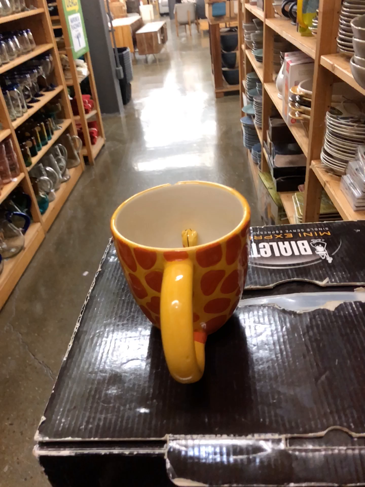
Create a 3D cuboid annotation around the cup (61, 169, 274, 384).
[{"bbox_3d":[-0.001,0.013,0.264,0.102,0.067,0.134,-3,34,7],"label":"cup"}]
